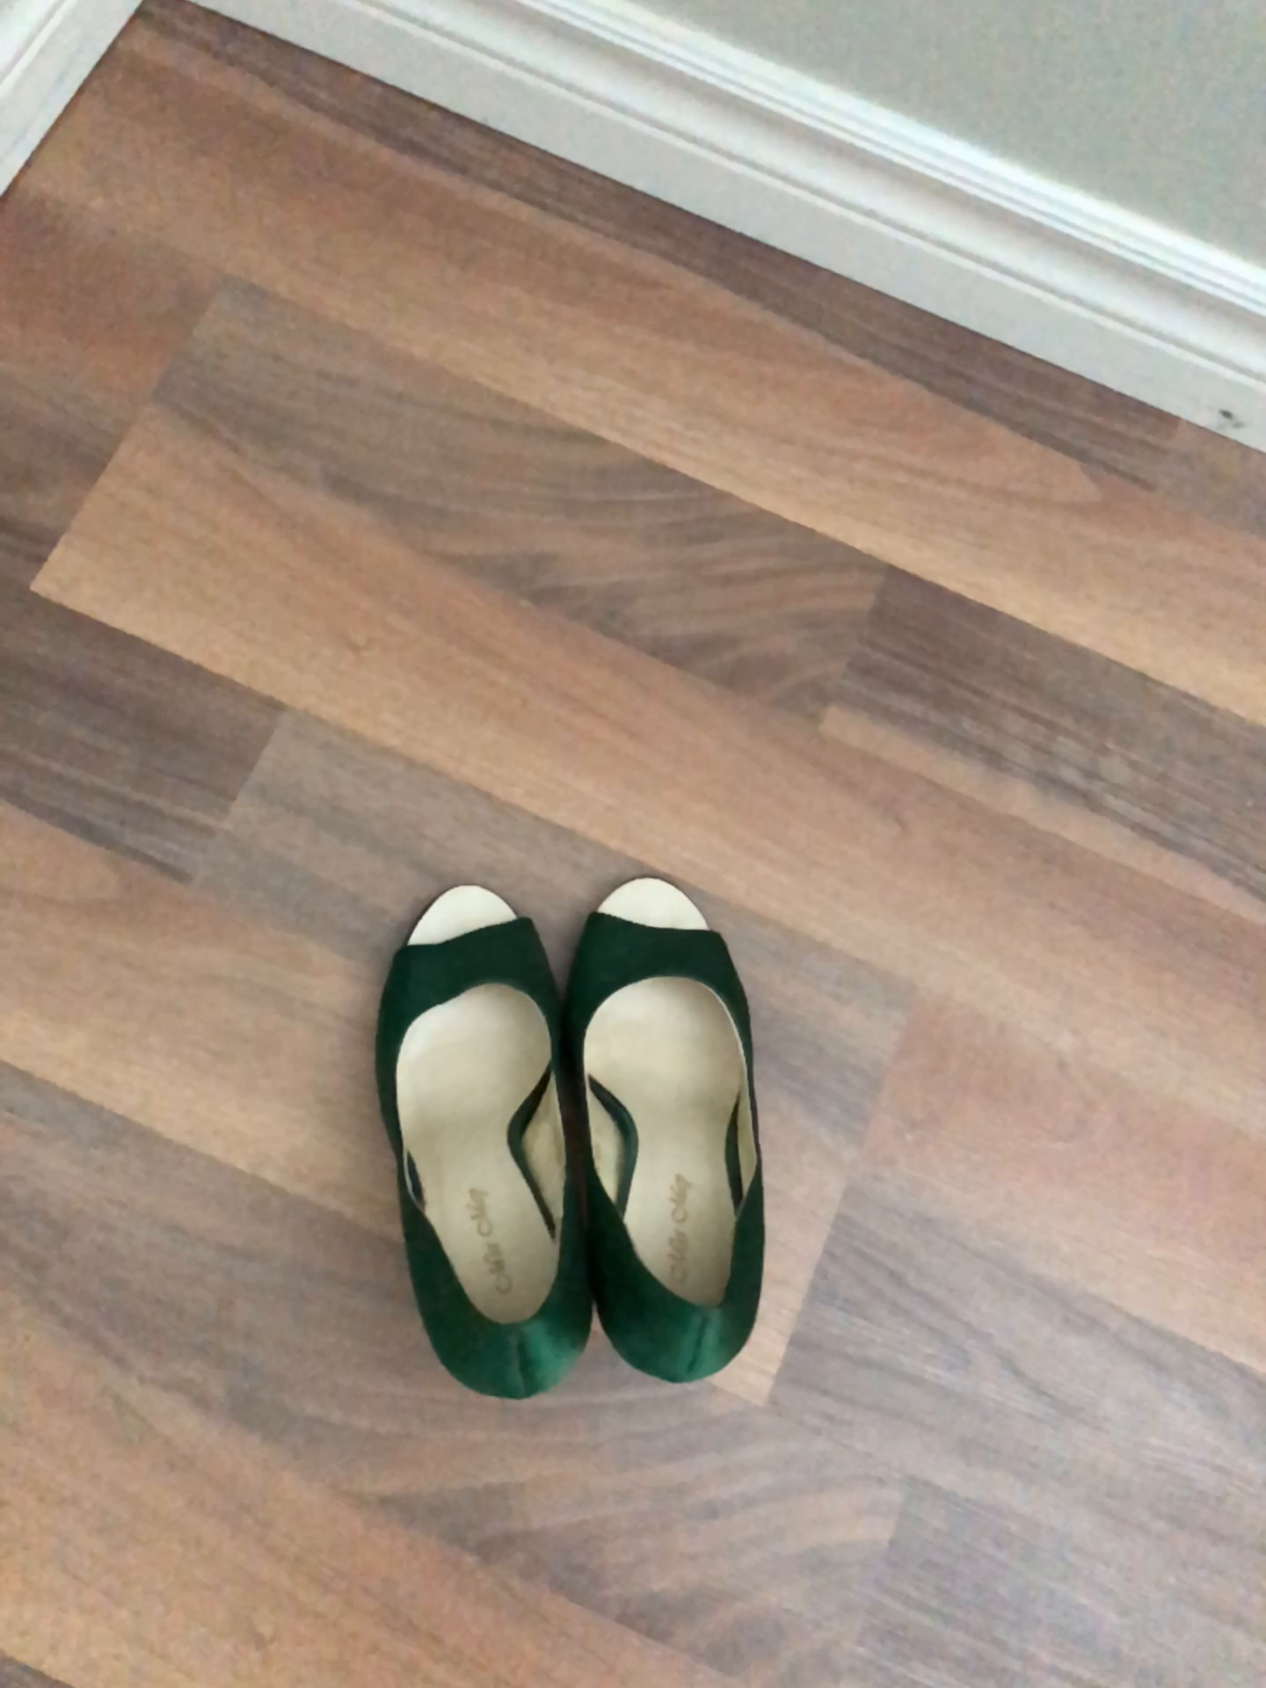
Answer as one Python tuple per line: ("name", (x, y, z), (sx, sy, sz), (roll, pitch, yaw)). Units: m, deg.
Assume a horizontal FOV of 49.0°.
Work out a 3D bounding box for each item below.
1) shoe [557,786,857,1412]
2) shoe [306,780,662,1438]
("shoe", (0.019, 0.098, 0.538), (0.090, 0.130, 0.210), (0, 74, -6))
("shoe", (-0.060, 0.101, 0.539), (0.090, 0.130, 0.210), (-9, 75, -8))
